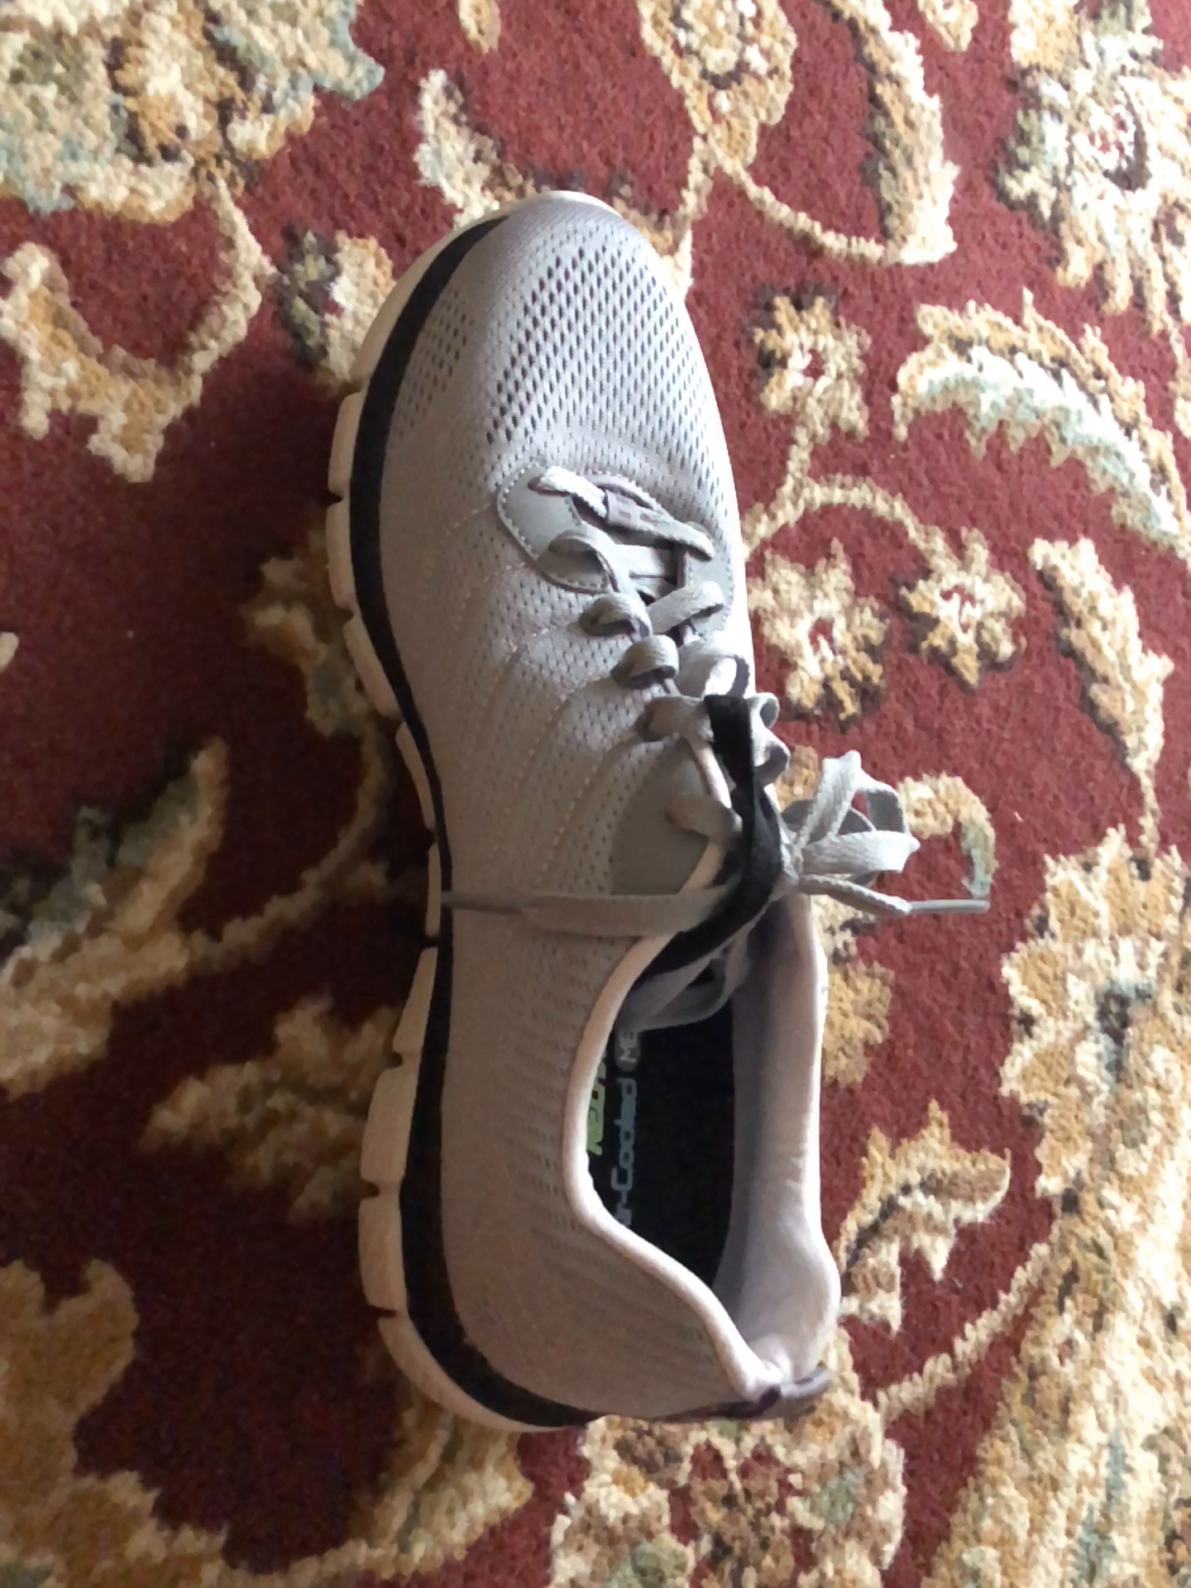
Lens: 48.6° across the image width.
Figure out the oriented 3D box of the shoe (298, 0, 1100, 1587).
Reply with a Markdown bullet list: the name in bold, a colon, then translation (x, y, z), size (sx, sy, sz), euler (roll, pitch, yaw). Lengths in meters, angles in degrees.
- **shoe**: translation (0.011, -0.009, 0.290), size (0.100, 0.130, 0.300), euler (7, 76, -30)
